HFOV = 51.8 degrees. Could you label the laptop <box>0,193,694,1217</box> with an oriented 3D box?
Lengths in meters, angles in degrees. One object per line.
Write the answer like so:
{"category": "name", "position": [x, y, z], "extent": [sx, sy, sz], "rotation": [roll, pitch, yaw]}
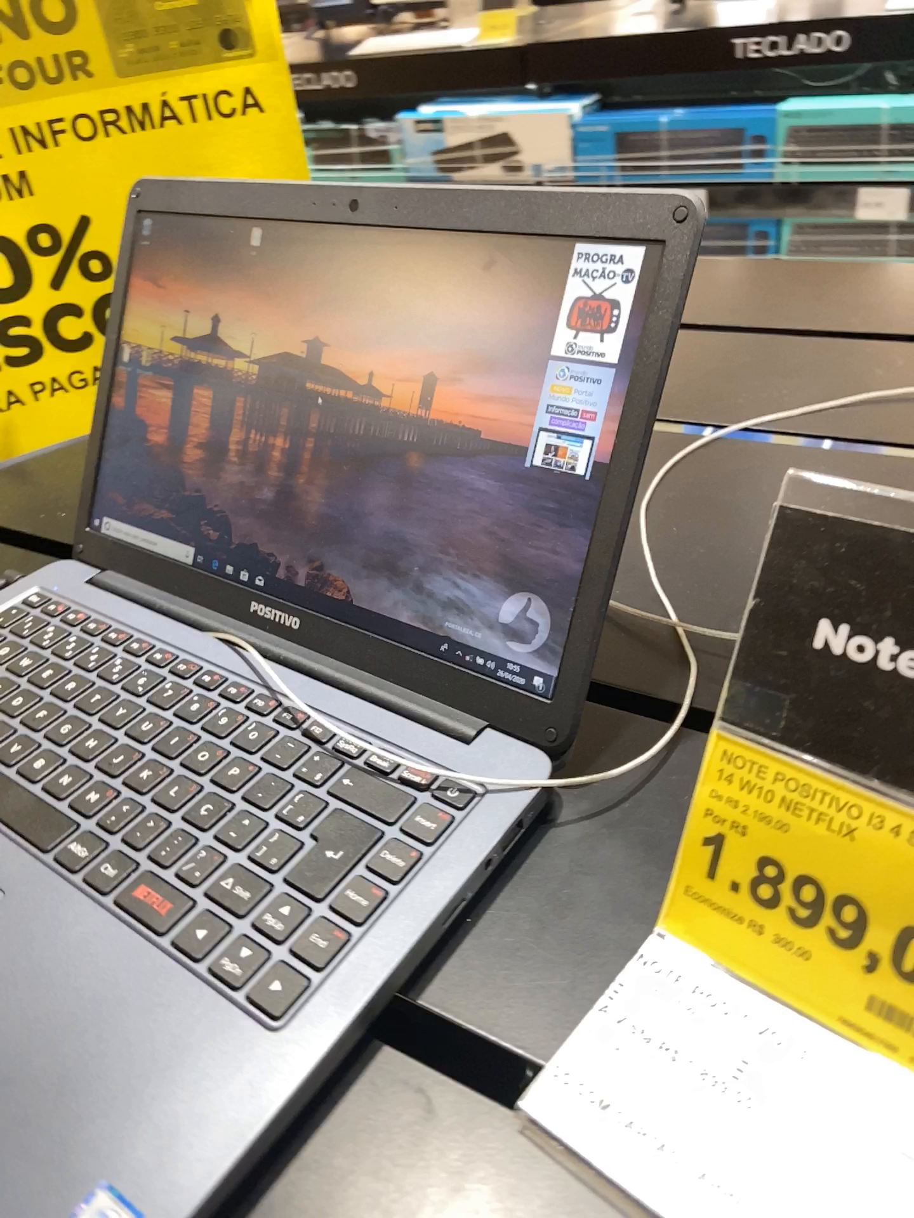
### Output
{"category": "laptop", "position": [-0.137, -0.025, 0.369], "extent": [0.332, 0.172, 0.342], "rotation": [18, 43, 34]}
